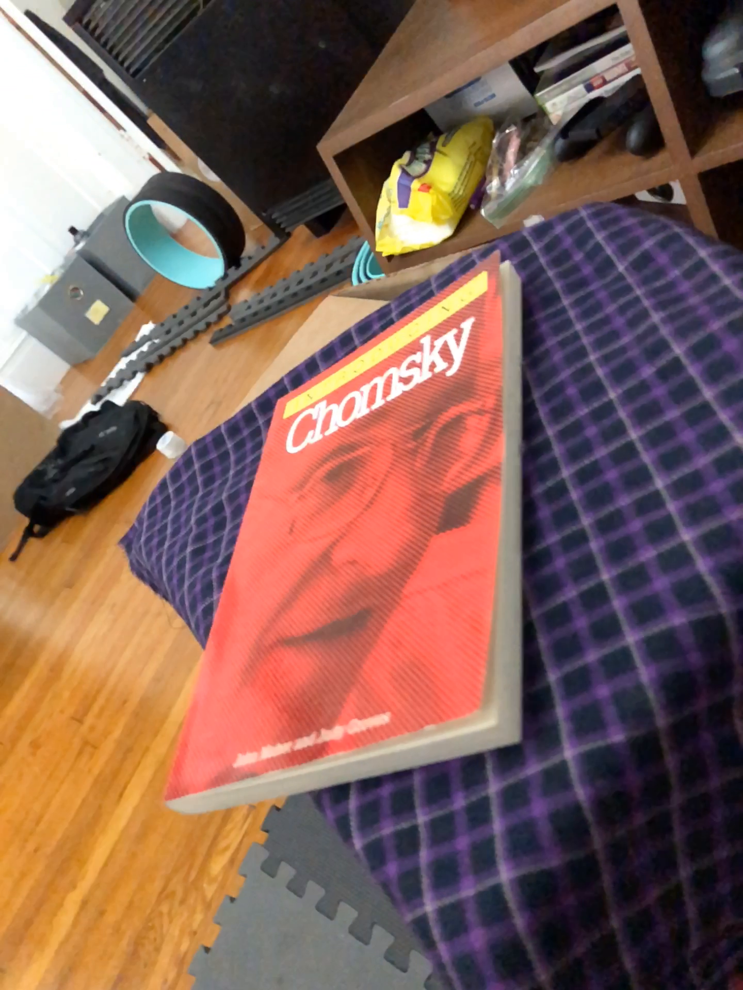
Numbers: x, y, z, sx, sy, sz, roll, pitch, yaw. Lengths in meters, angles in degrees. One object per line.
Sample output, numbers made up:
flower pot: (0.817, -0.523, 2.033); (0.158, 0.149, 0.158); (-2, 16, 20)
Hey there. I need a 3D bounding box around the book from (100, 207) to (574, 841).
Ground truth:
book: (-0.008, 0.002, 0.329); (0.180, 0.020, 0.241); (-26, 38, 33)
